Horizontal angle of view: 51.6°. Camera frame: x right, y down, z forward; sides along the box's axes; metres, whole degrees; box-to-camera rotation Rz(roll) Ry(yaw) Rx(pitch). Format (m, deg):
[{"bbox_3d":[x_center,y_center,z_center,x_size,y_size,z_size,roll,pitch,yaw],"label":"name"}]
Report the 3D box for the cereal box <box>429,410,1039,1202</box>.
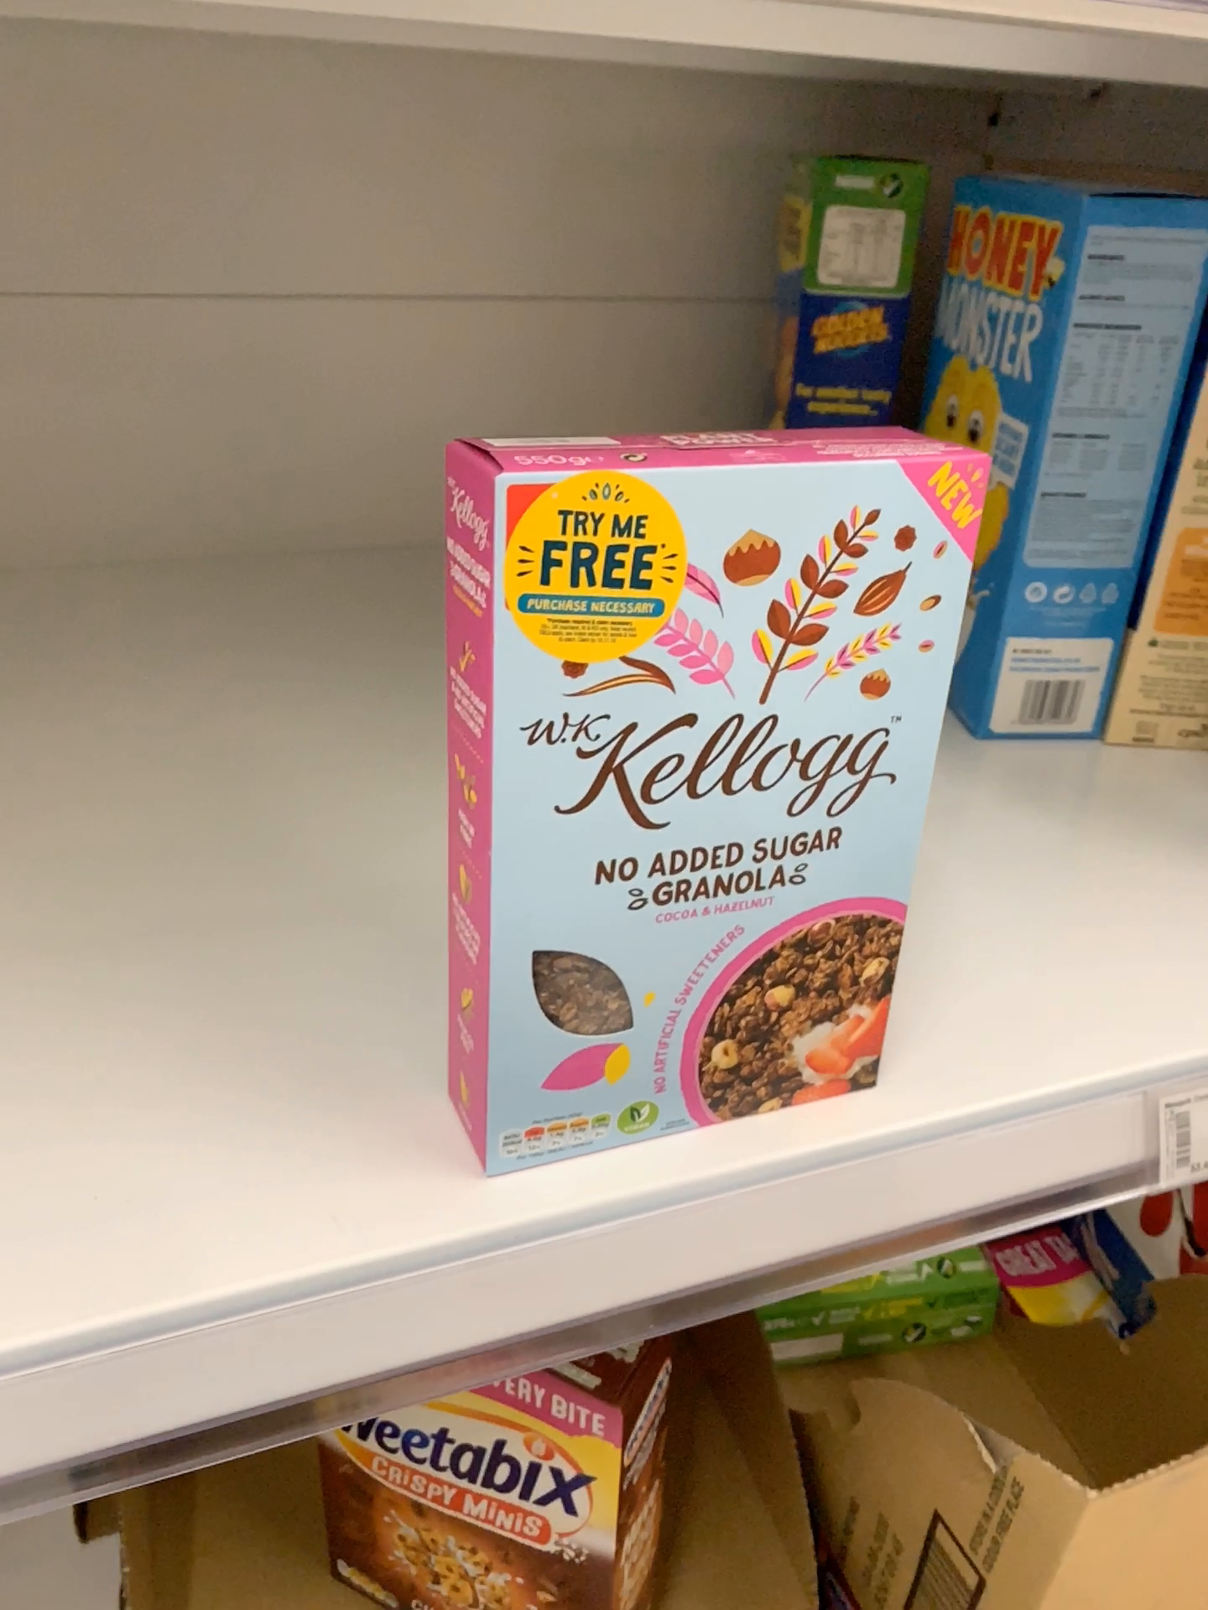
[{"bbox_3d":[0.032,0.003,0.415,0.170,0.248,0.050,-8,30,-20],"label":"cereal box"}]
